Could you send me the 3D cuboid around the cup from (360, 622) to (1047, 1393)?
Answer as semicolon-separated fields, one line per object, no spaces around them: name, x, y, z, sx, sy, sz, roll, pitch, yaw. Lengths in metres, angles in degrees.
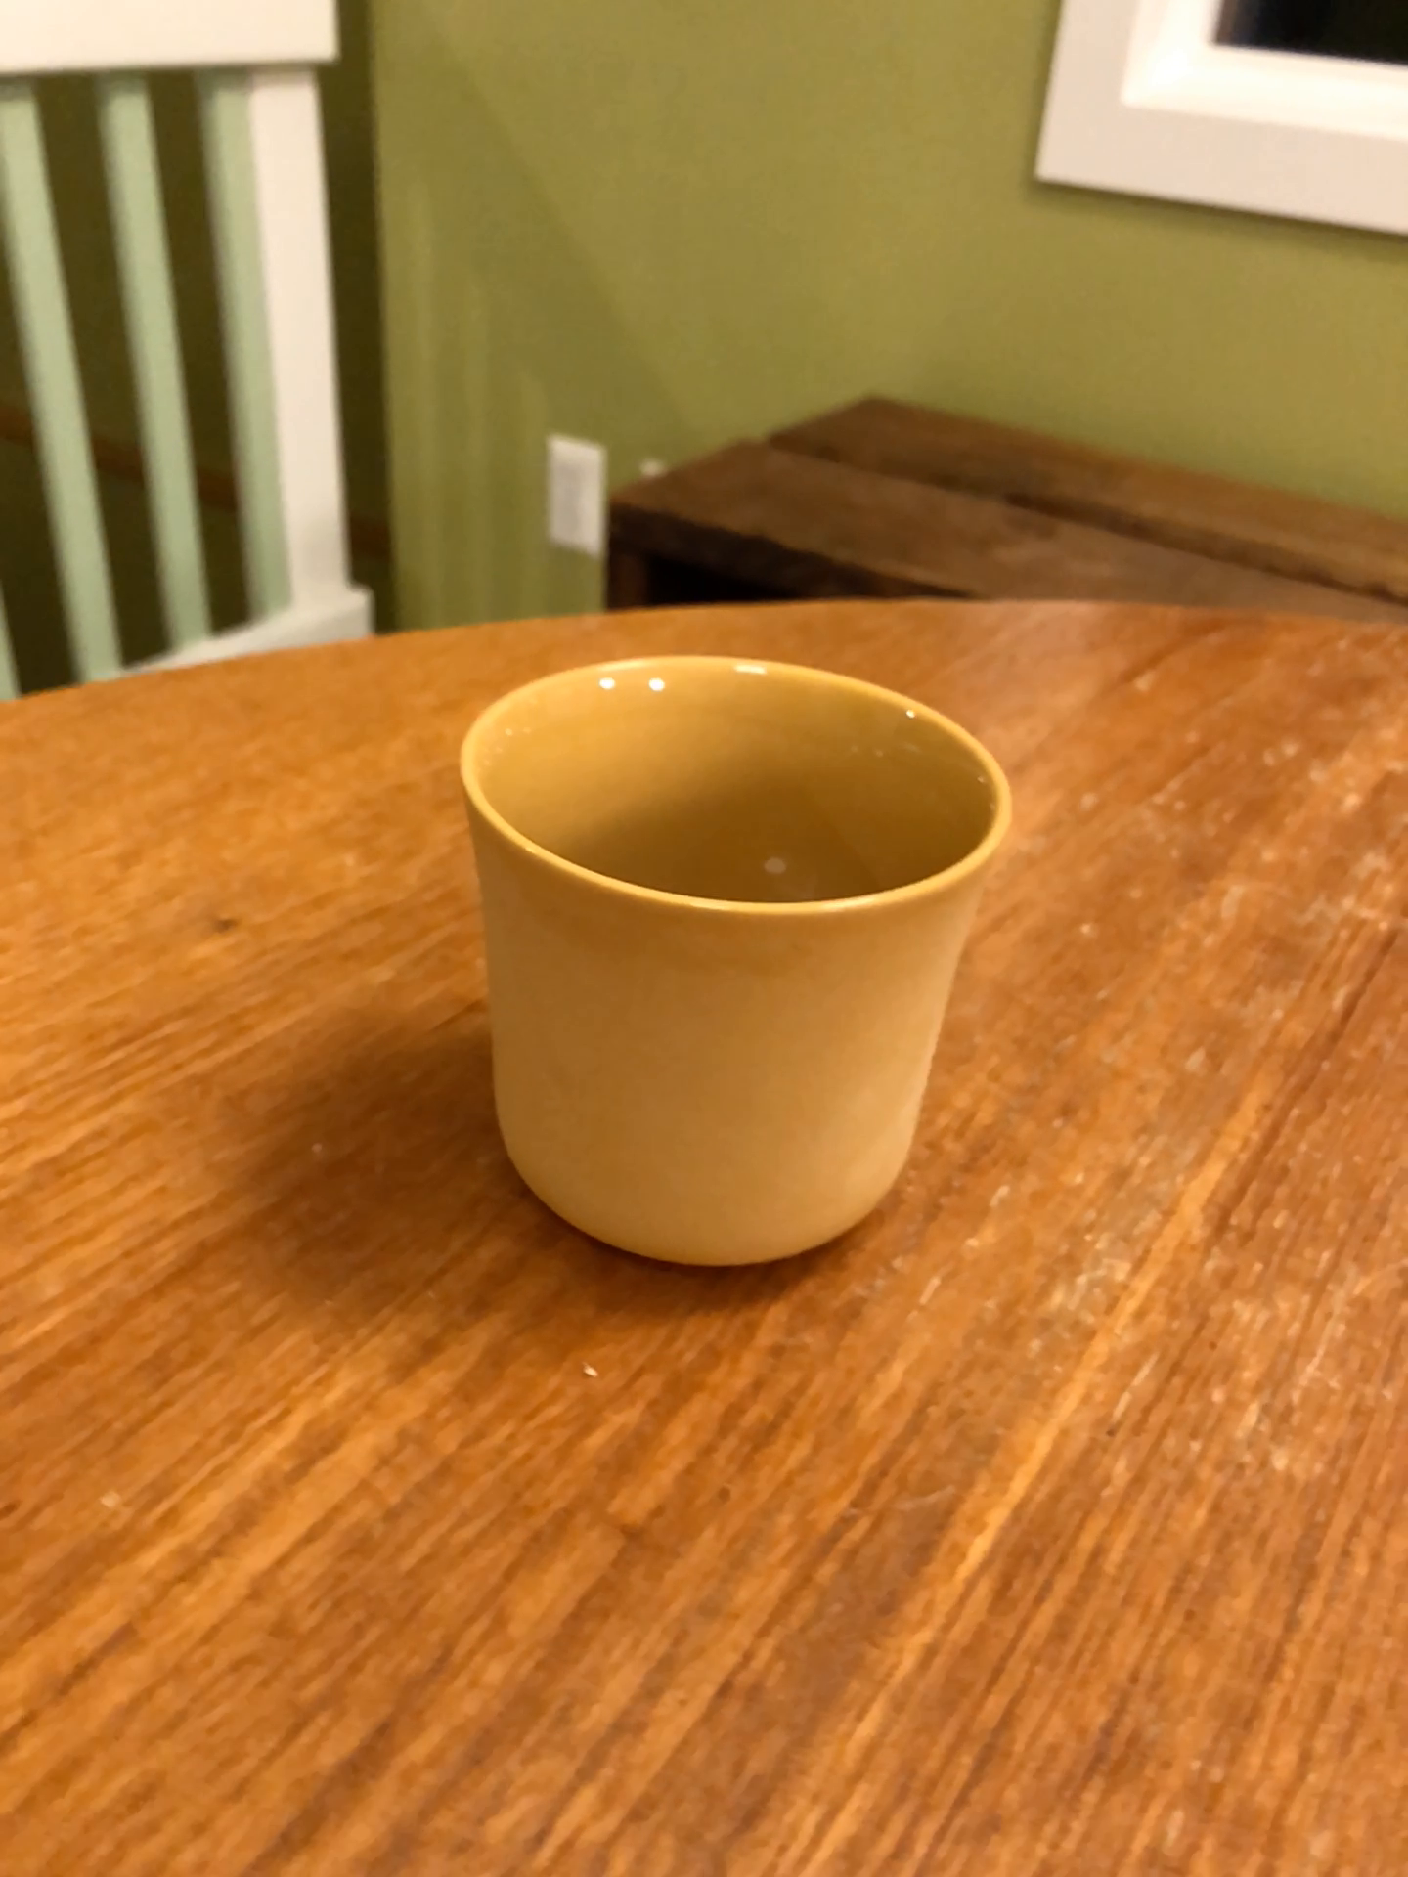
cup;0.003;0.006;0.237;0.077;0.073;0.074;3;32;-2
